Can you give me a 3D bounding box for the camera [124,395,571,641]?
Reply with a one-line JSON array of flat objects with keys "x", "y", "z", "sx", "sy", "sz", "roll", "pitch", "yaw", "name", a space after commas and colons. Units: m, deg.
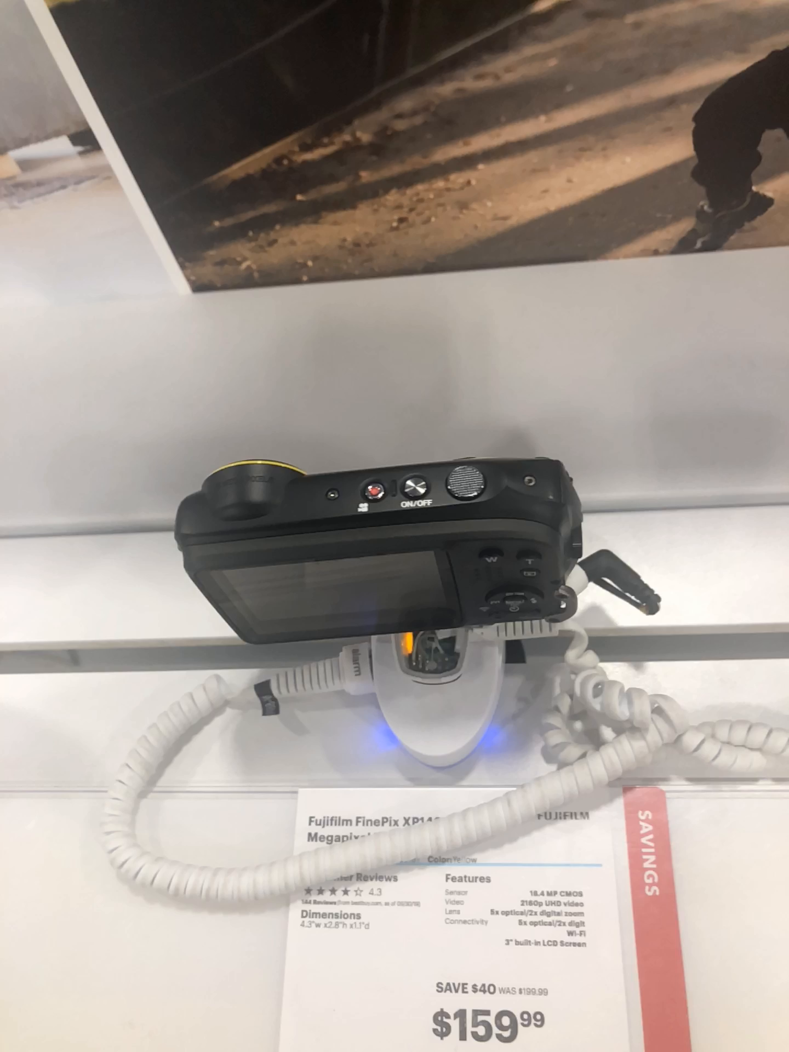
[{"x": -0.008, "y": 0.002, "z": 0.251, "sx": 0.110, "sy": 0.070, "sz": 0.030, "roll": -6, "pitch": 62, "yaw": 7, "name": "camera"}]
